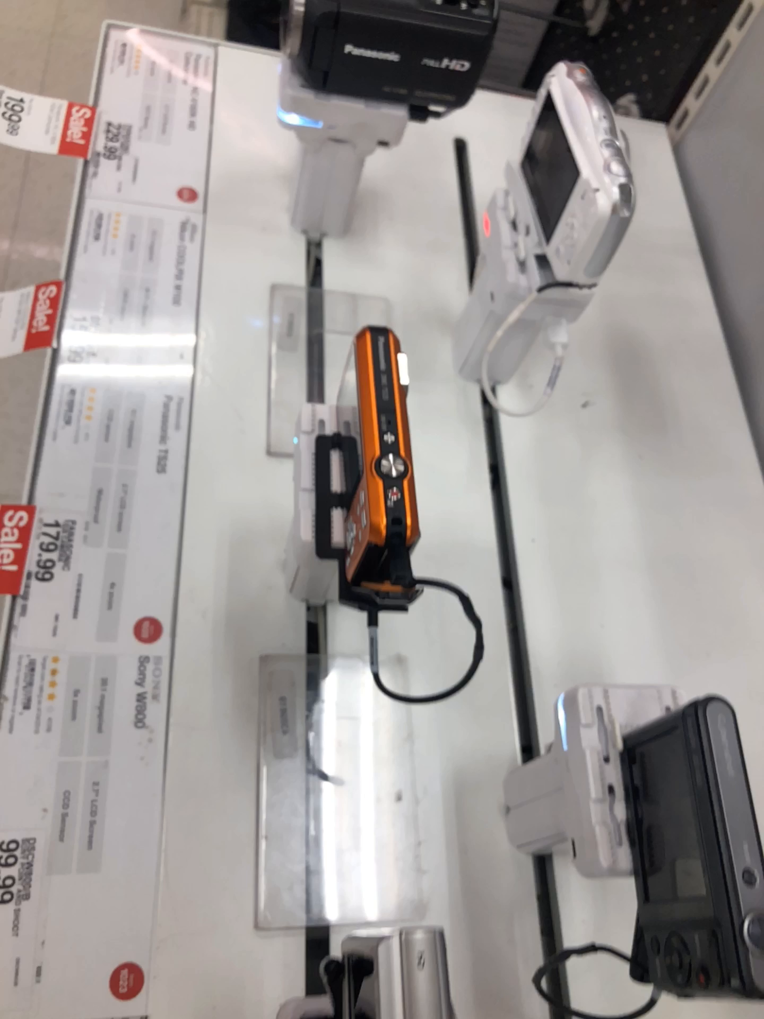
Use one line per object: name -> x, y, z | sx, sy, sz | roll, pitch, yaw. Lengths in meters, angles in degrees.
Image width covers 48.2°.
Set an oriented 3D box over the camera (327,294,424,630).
camera -> -0.006, -0.019, 0.343 | 0.020, 0.060, 0.120 | 3, 62, -13
